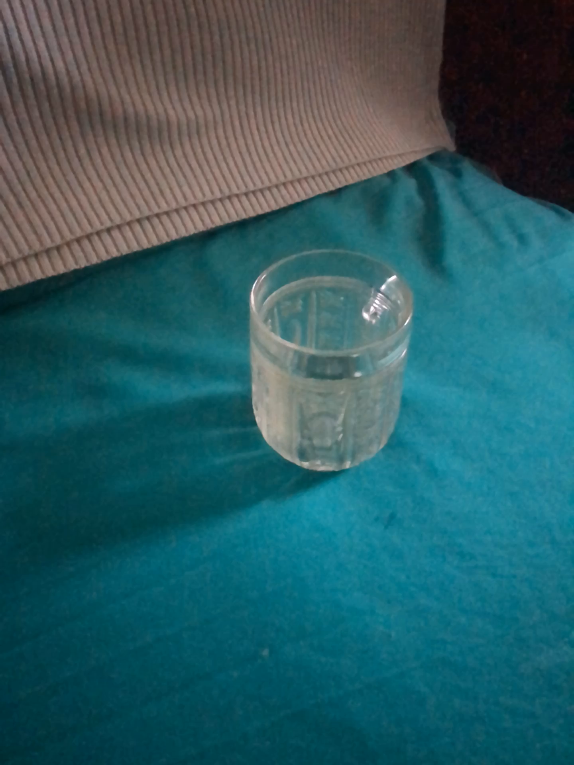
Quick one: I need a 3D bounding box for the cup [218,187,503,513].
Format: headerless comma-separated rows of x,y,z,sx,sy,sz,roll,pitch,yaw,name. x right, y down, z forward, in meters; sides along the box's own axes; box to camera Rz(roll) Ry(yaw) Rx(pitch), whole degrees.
0.030,-0.017,0.274,0.064,0.076,0.104,32,55,20,cup
